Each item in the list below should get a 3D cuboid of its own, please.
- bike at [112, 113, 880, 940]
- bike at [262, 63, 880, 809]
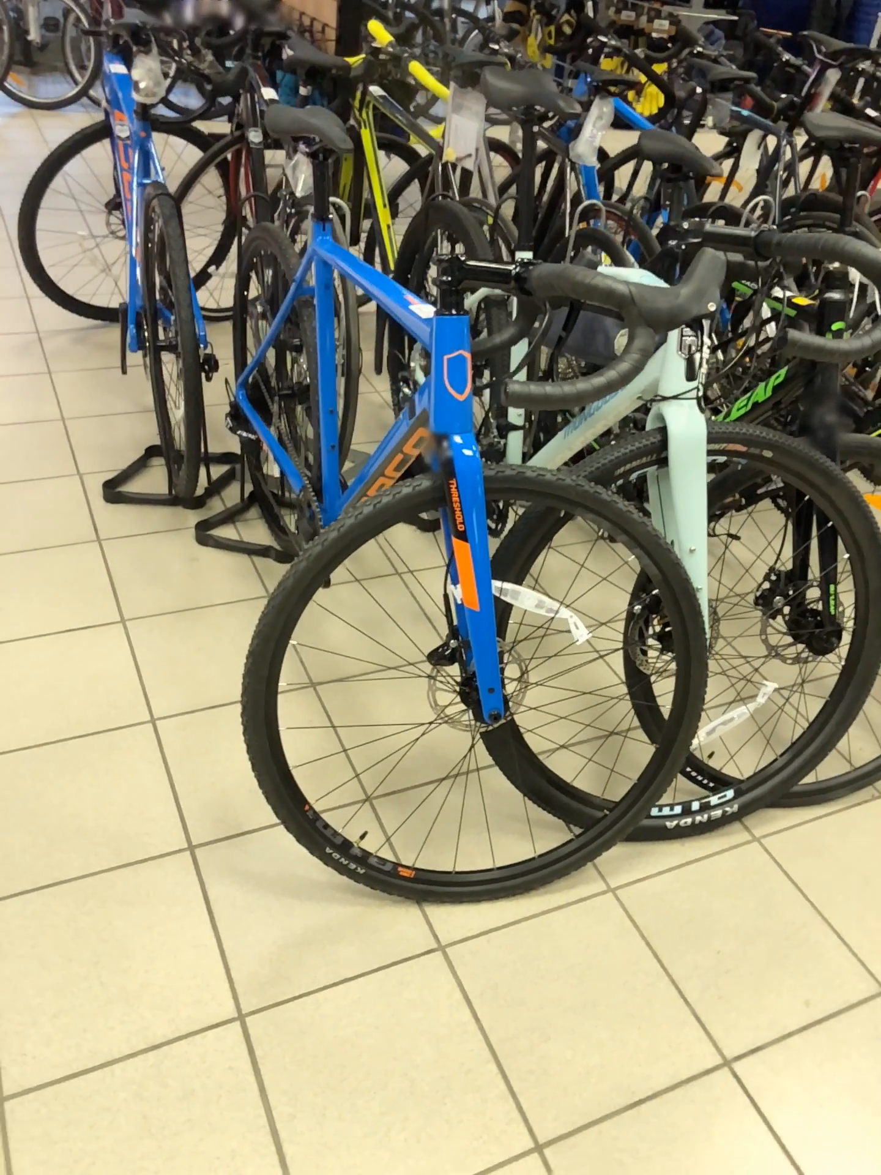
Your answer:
[{"bbox_3d":[-0.016,-0.219,1.887,0.526,0.805,1.473,-19,48,-32],"label":"bike"},{"bbox_3d":[0.314,-0.400,1.956,0.617,0.870,1.425,-19,44,-32],"label":"bike"}]
